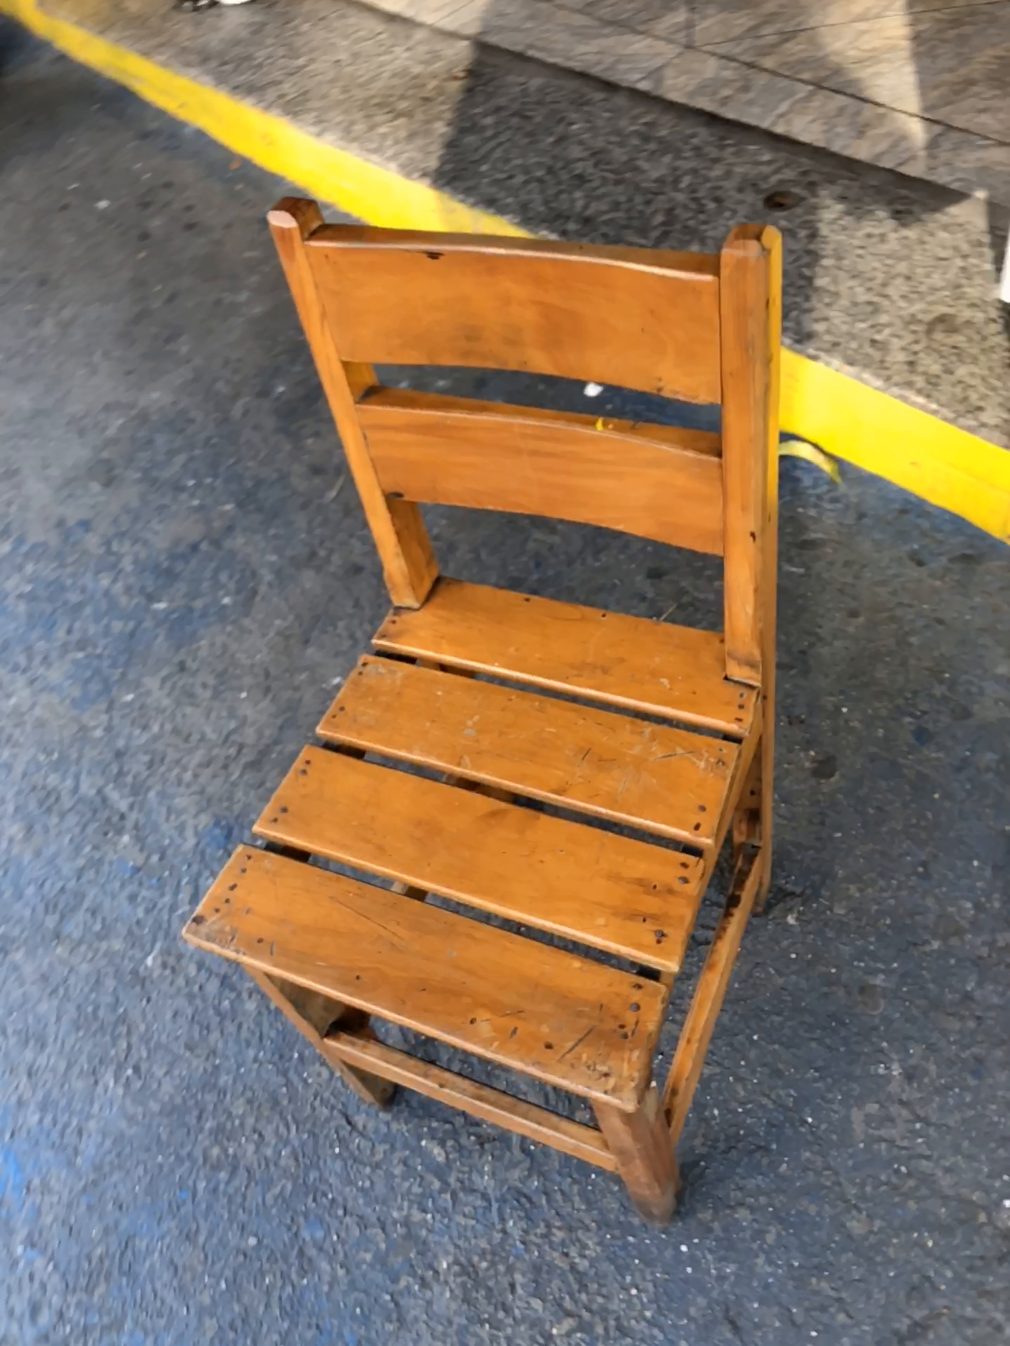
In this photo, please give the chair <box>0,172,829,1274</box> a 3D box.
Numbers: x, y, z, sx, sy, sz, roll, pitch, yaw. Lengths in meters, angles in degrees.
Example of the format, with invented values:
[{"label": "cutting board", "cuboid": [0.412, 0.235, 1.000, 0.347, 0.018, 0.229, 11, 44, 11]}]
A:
[{"label": "chair", "cuboid": [-0.010, 0.103, 0.908, 0.401, 0.806, 0.442, 14, 57, 23]}]
